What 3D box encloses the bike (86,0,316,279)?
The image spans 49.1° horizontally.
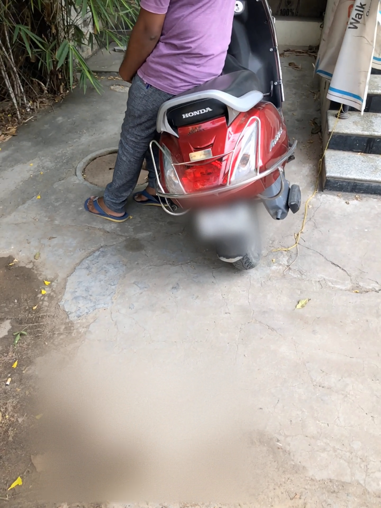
[{"bbox_3d":[0.077,-0.815,1.911,0.571,1.056,1.487,1,41,3],"label":"bike"}]
